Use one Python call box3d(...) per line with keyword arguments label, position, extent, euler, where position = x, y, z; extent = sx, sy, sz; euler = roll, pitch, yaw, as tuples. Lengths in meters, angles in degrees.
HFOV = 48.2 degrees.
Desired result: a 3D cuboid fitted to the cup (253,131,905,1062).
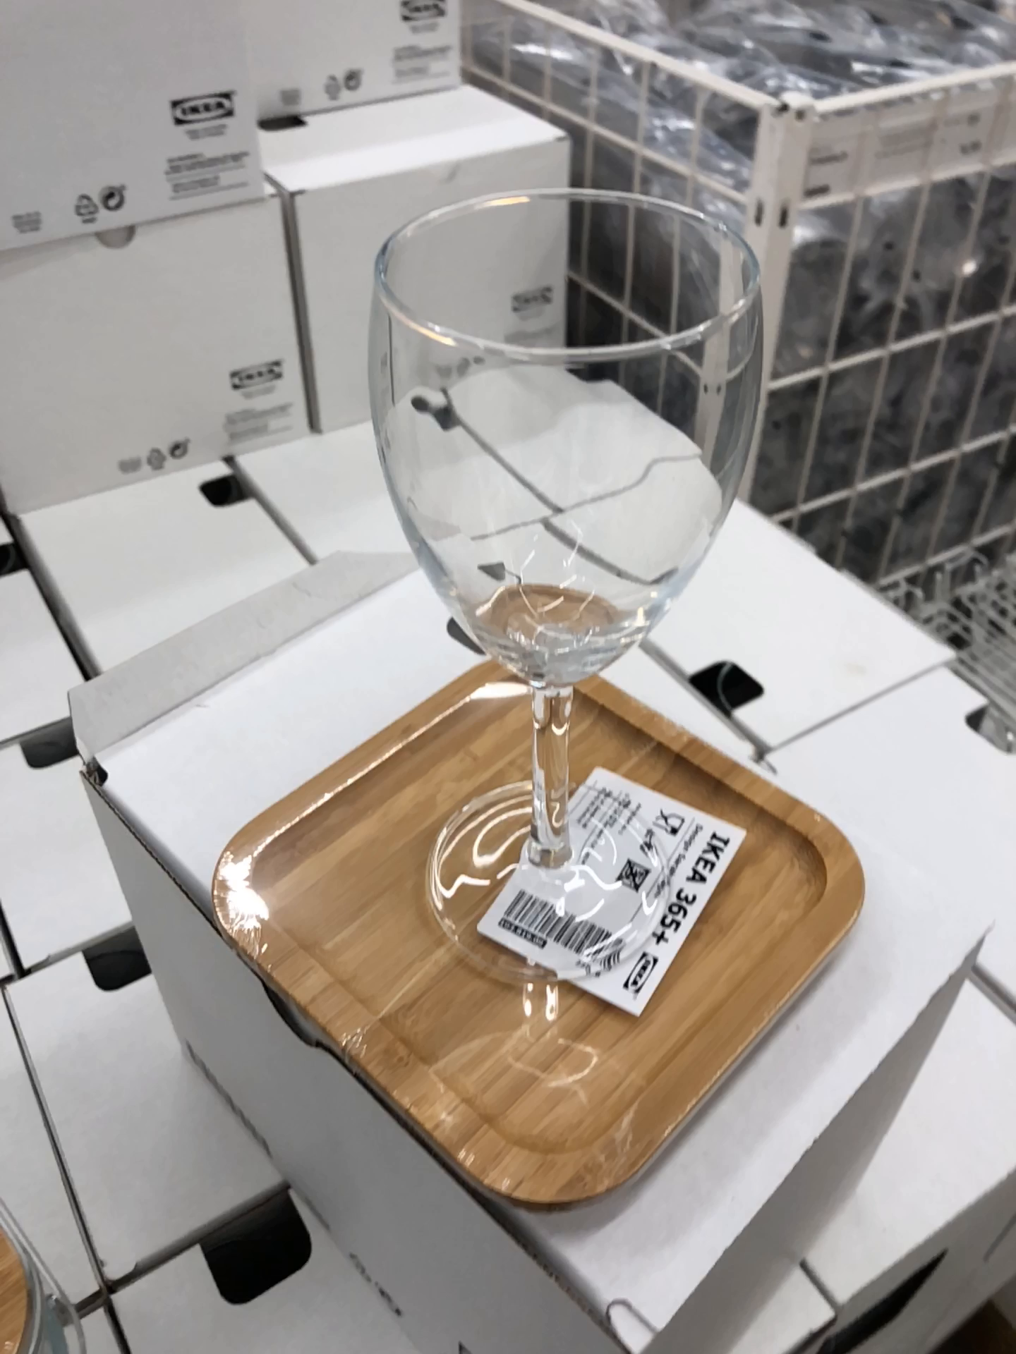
box3d(label="cup", position=(0.010, -0.010, 0.257), extent=(0.080, 0.179, 0.080), euler=(0, 43, 0))
